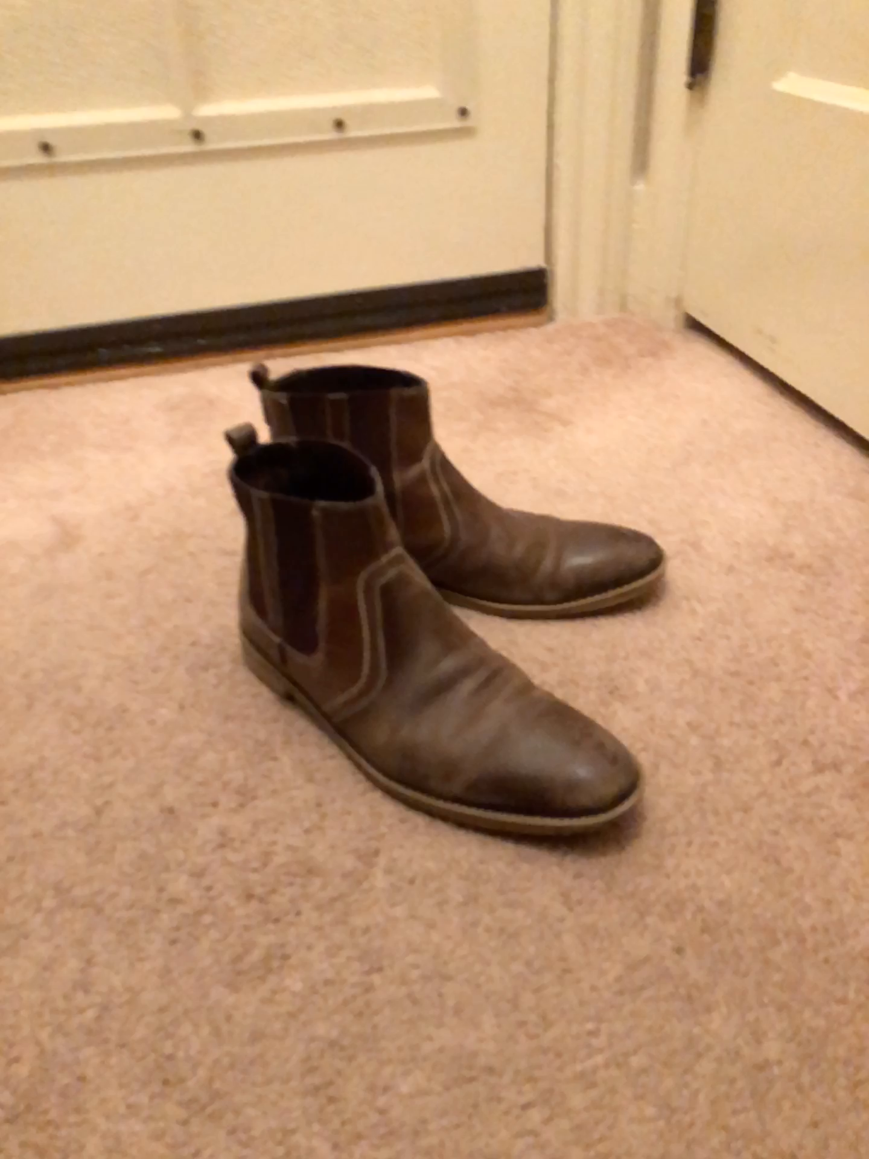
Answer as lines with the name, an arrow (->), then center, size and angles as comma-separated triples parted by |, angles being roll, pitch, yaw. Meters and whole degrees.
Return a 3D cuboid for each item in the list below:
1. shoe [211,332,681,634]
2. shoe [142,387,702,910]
shoe -> 0.016, -0.075, 0.677 | 0.298, 0.158, 0.119 | 5, 35, 12
shoe -> -0.018, 0.018, 0.543 | 0.298, 0.158, 0.119 | 26, 43, 36
